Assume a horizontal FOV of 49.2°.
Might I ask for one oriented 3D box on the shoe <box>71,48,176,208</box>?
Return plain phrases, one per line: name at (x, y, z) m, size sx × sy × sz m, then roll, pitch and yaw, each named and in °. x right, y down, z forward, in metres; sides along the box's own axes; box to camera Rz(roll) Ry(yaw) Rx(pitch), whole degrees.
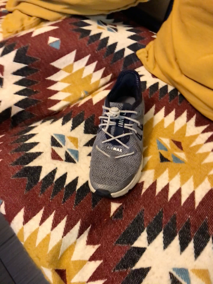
shoe at (0.032, -0.030, 0.337) m, size 0.094 × 0.074 × 0.212 m, roll 13°, pitch 60°, yaw 7°
